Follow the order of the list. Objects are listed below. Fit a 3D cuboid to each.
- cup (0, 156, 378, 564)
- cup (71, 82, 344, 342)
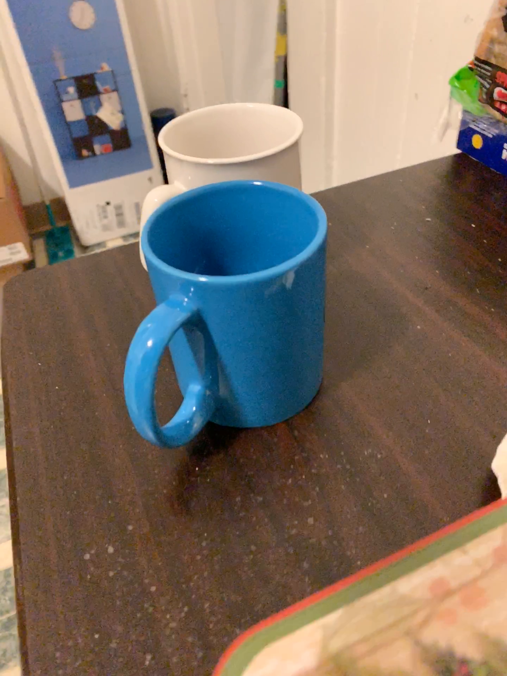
[{"bbox_3d":[-0.019,0.000,0.244,0.090,0.099,0.140,23,51,28],"label":"cup"},{"bbox_3d":[-0.022,-0.082,0.317,0.120,0.089,0.090,-33,49,-25],"label":"cup"}]
